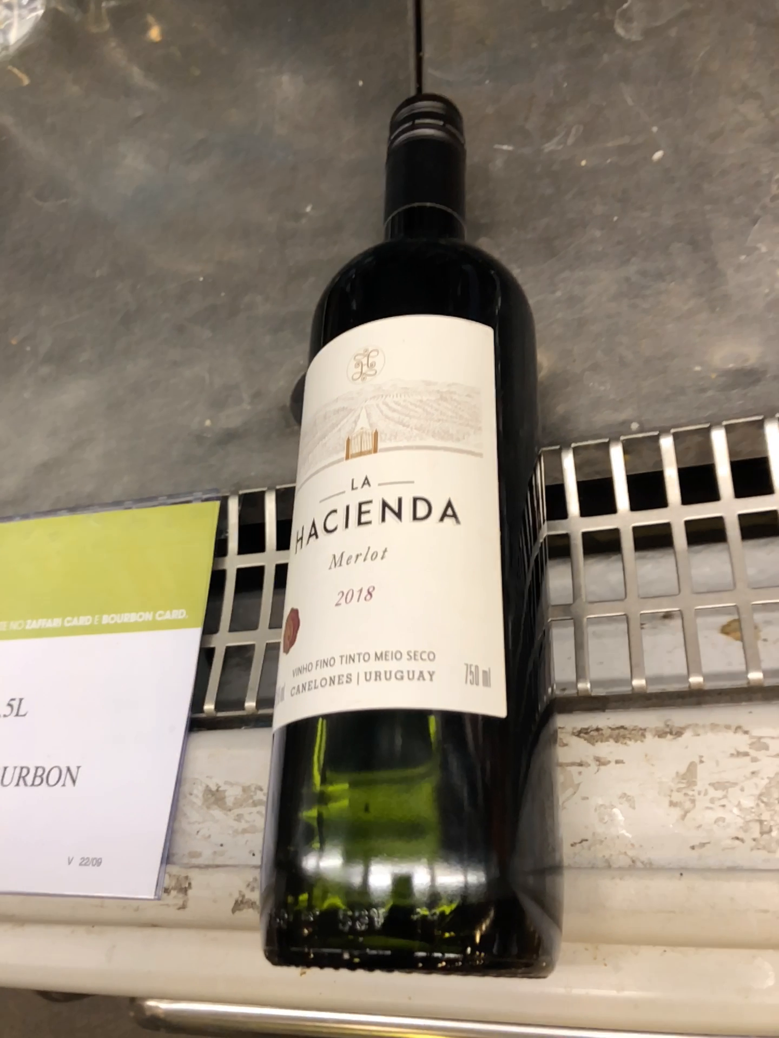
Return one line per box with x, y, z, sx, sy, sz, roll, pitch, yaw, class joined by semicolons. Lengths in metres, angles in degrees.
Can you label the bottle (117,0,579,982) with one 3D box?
0.000;-0.036;0.256;0.080;0.070;0.301;-8;62;19;bottle
